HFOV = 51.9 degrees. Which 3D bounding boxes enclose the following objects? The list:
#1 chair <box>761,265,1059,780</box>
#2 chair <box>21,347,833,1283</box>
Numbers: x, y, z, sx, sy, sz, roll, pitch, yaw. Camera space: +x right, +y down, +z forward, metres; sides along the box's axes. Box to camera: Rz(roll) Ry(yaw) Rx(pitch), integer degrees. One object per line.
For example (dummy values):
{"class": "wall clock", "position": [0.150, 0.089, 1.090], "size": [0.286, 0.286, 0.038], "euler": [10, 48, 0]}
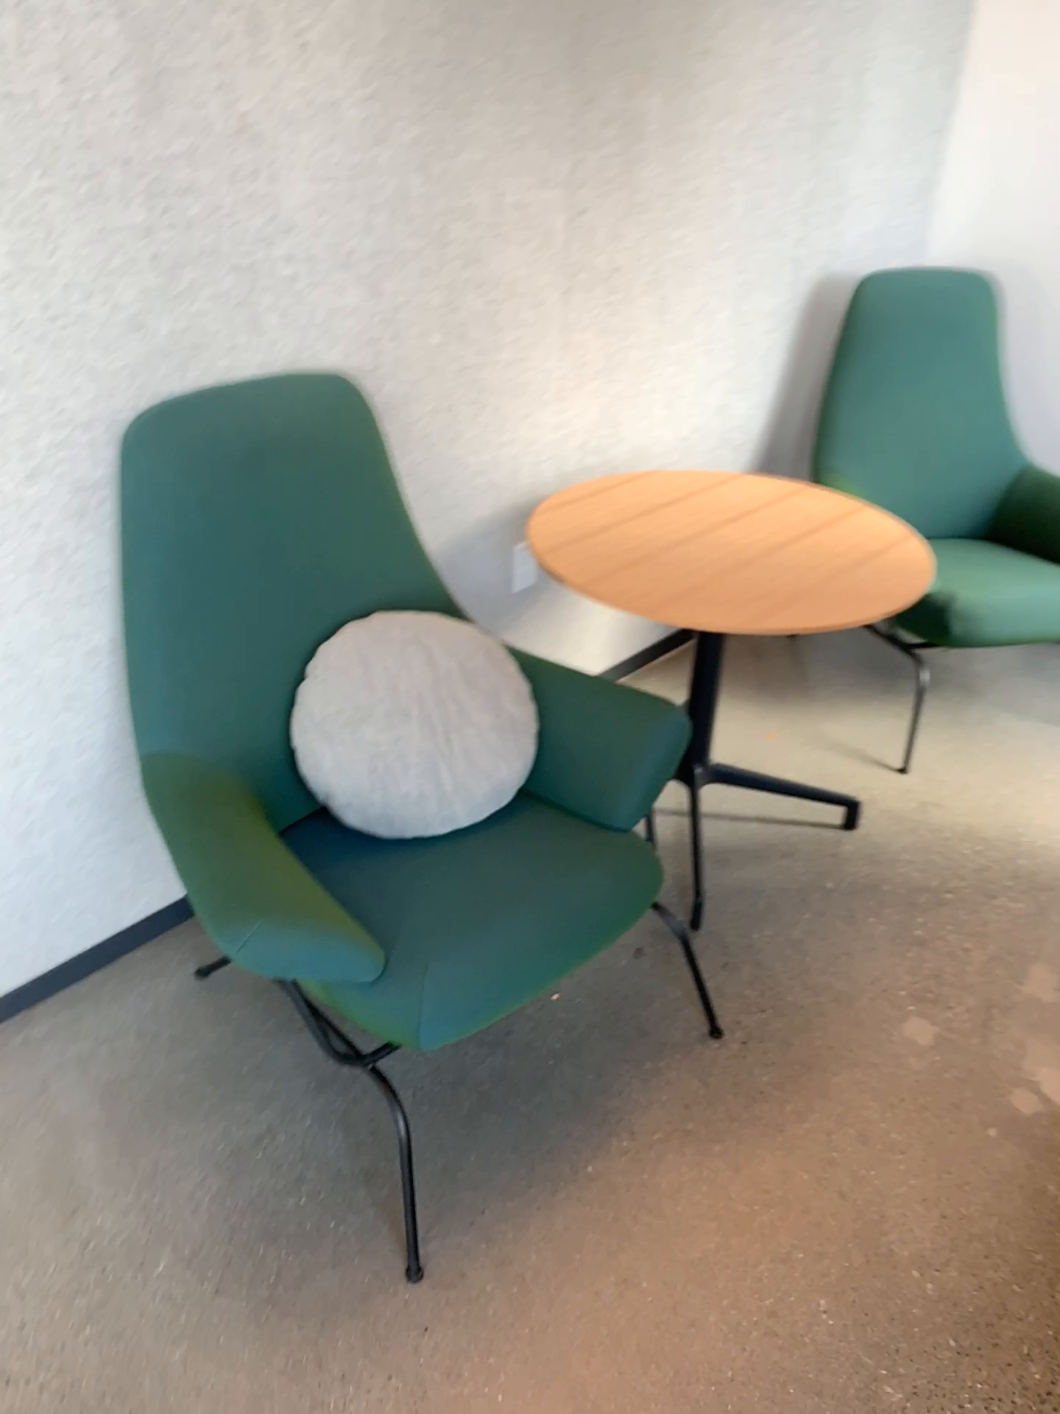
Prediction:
{"class": "chair", "position": [1.093, -0.487, 2.679], "size": [0.650, 1.014, 0.754], "euler": [-6, 30, -13]}
{"class": "chair", "position": [-0.165, 0.069, 1.709], "size": [0.722, 0.994, 0.843], "euler": [-24, 38, -36]}
